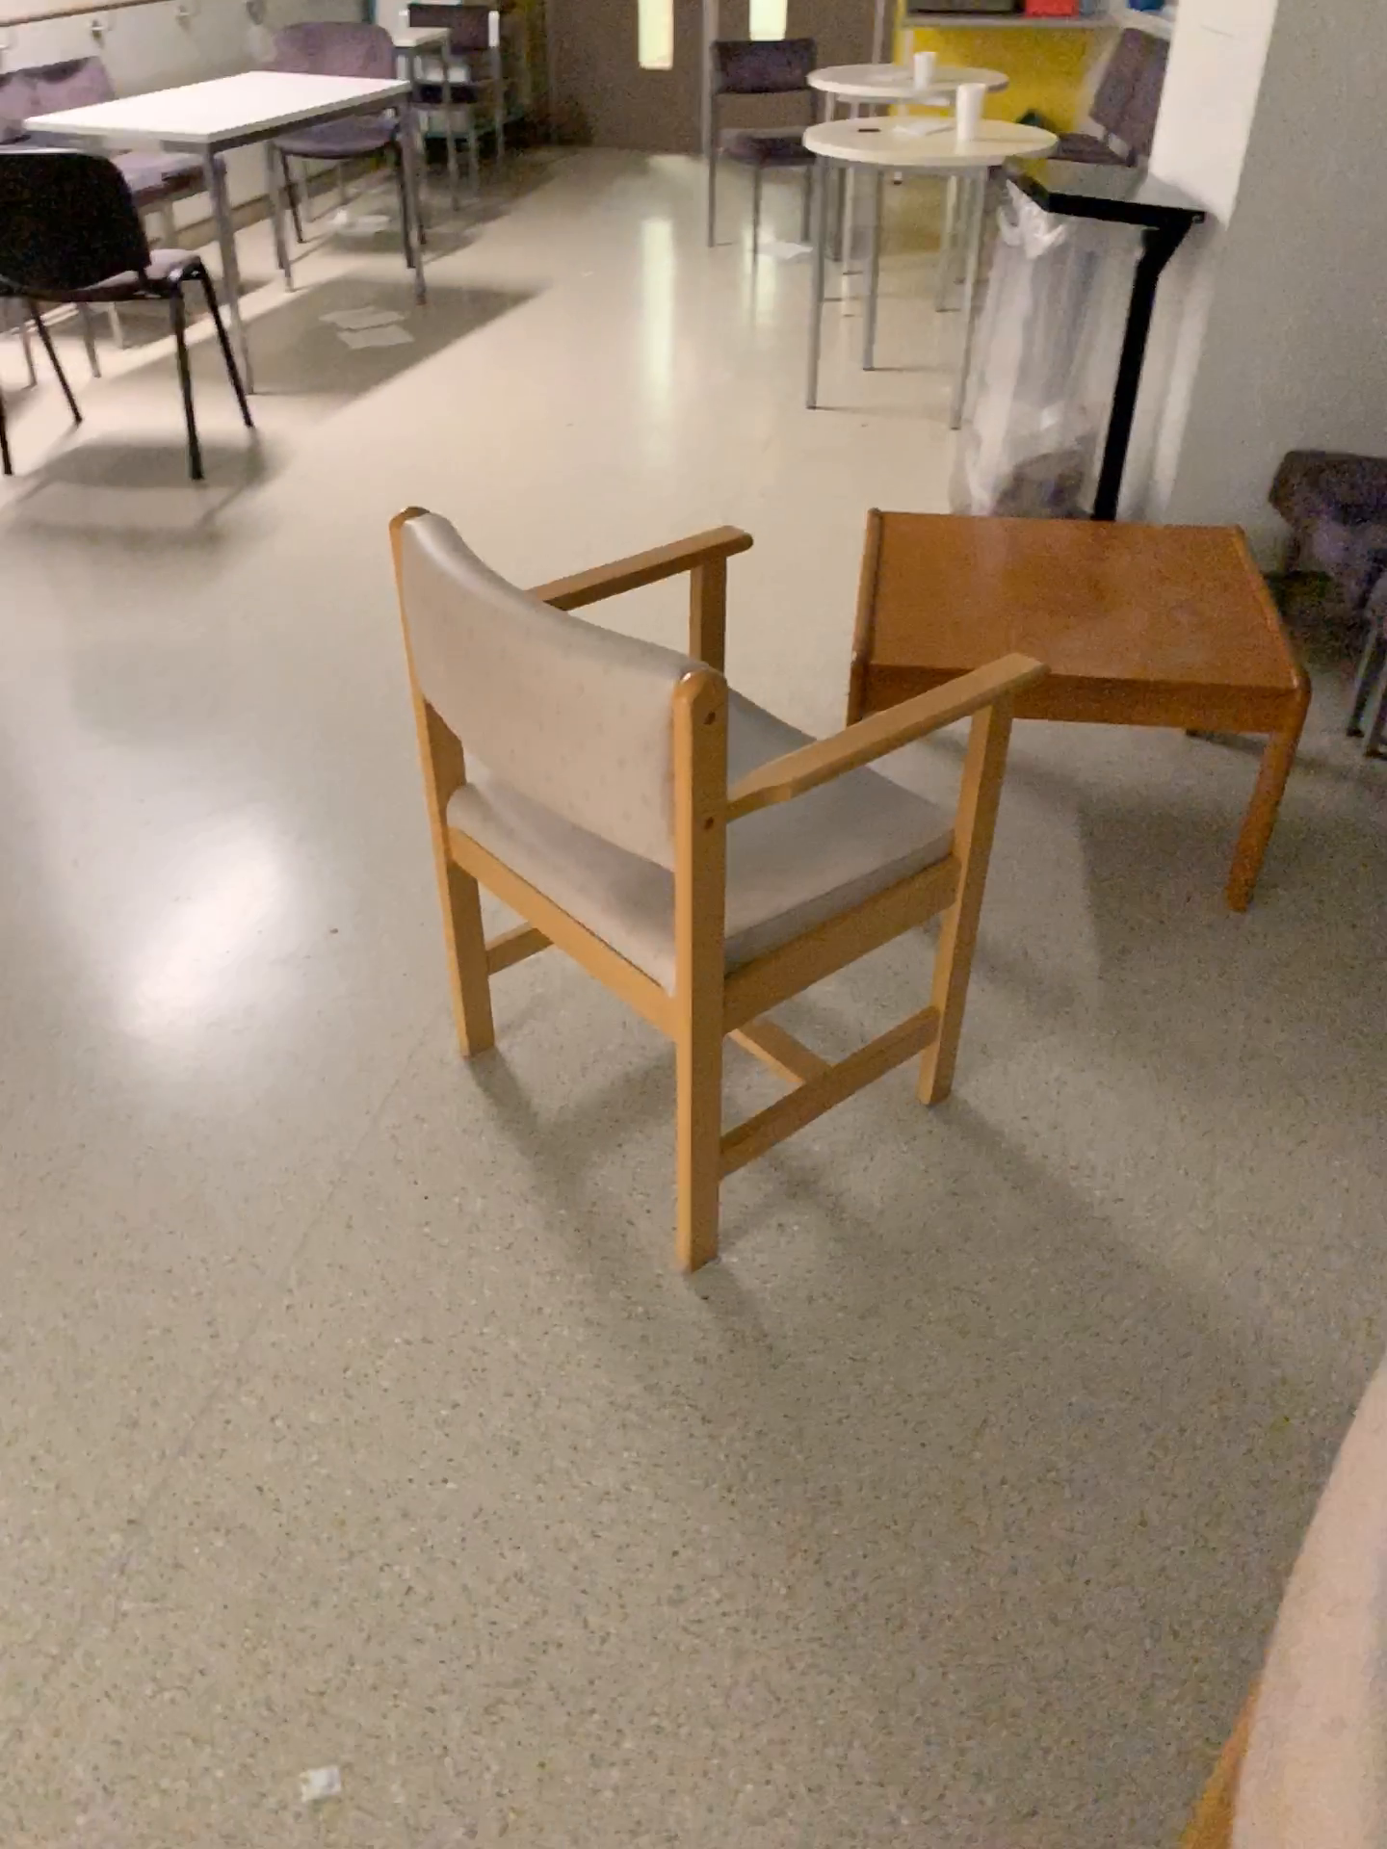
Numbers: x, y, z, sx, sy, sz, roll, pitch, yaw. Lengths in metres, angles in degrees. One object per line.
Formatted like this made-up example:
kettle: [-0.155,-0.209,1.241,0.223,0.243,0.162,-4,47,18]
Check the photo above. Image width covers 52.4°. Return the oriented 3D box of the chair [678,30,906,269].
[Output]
chair: [0.330,-2.951,5.333,0.610,0.663,0.949,-6,37,-9]

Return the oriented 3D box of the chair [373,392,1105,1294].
chair: [0.035,-0.116,1.611,0.512,0.752,0.513,-26,44,-32]

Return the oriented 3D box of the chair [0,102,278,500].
chair: [-1.515,-1.588,3.560,0.580,0.752,0.768,3,36,4]
